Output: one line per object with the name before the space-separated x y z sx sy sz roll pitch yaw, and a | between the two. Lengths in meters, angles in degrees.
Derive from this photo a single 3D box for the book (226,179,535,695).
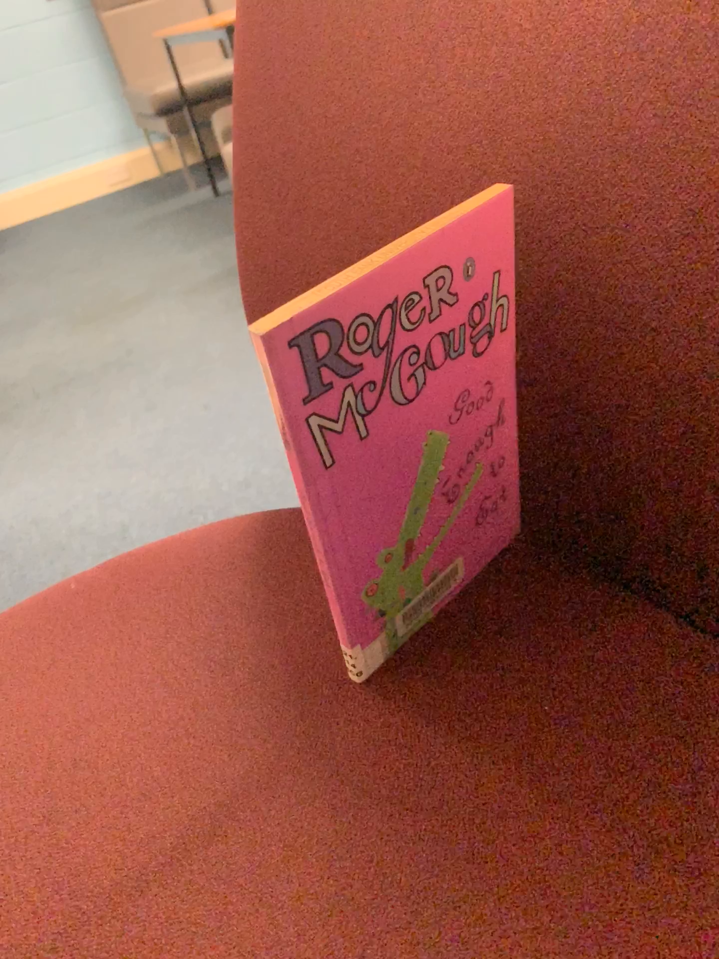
book | 0.027 -0.012 0.327 0.141 0.189 0.017 -35 45 -28
